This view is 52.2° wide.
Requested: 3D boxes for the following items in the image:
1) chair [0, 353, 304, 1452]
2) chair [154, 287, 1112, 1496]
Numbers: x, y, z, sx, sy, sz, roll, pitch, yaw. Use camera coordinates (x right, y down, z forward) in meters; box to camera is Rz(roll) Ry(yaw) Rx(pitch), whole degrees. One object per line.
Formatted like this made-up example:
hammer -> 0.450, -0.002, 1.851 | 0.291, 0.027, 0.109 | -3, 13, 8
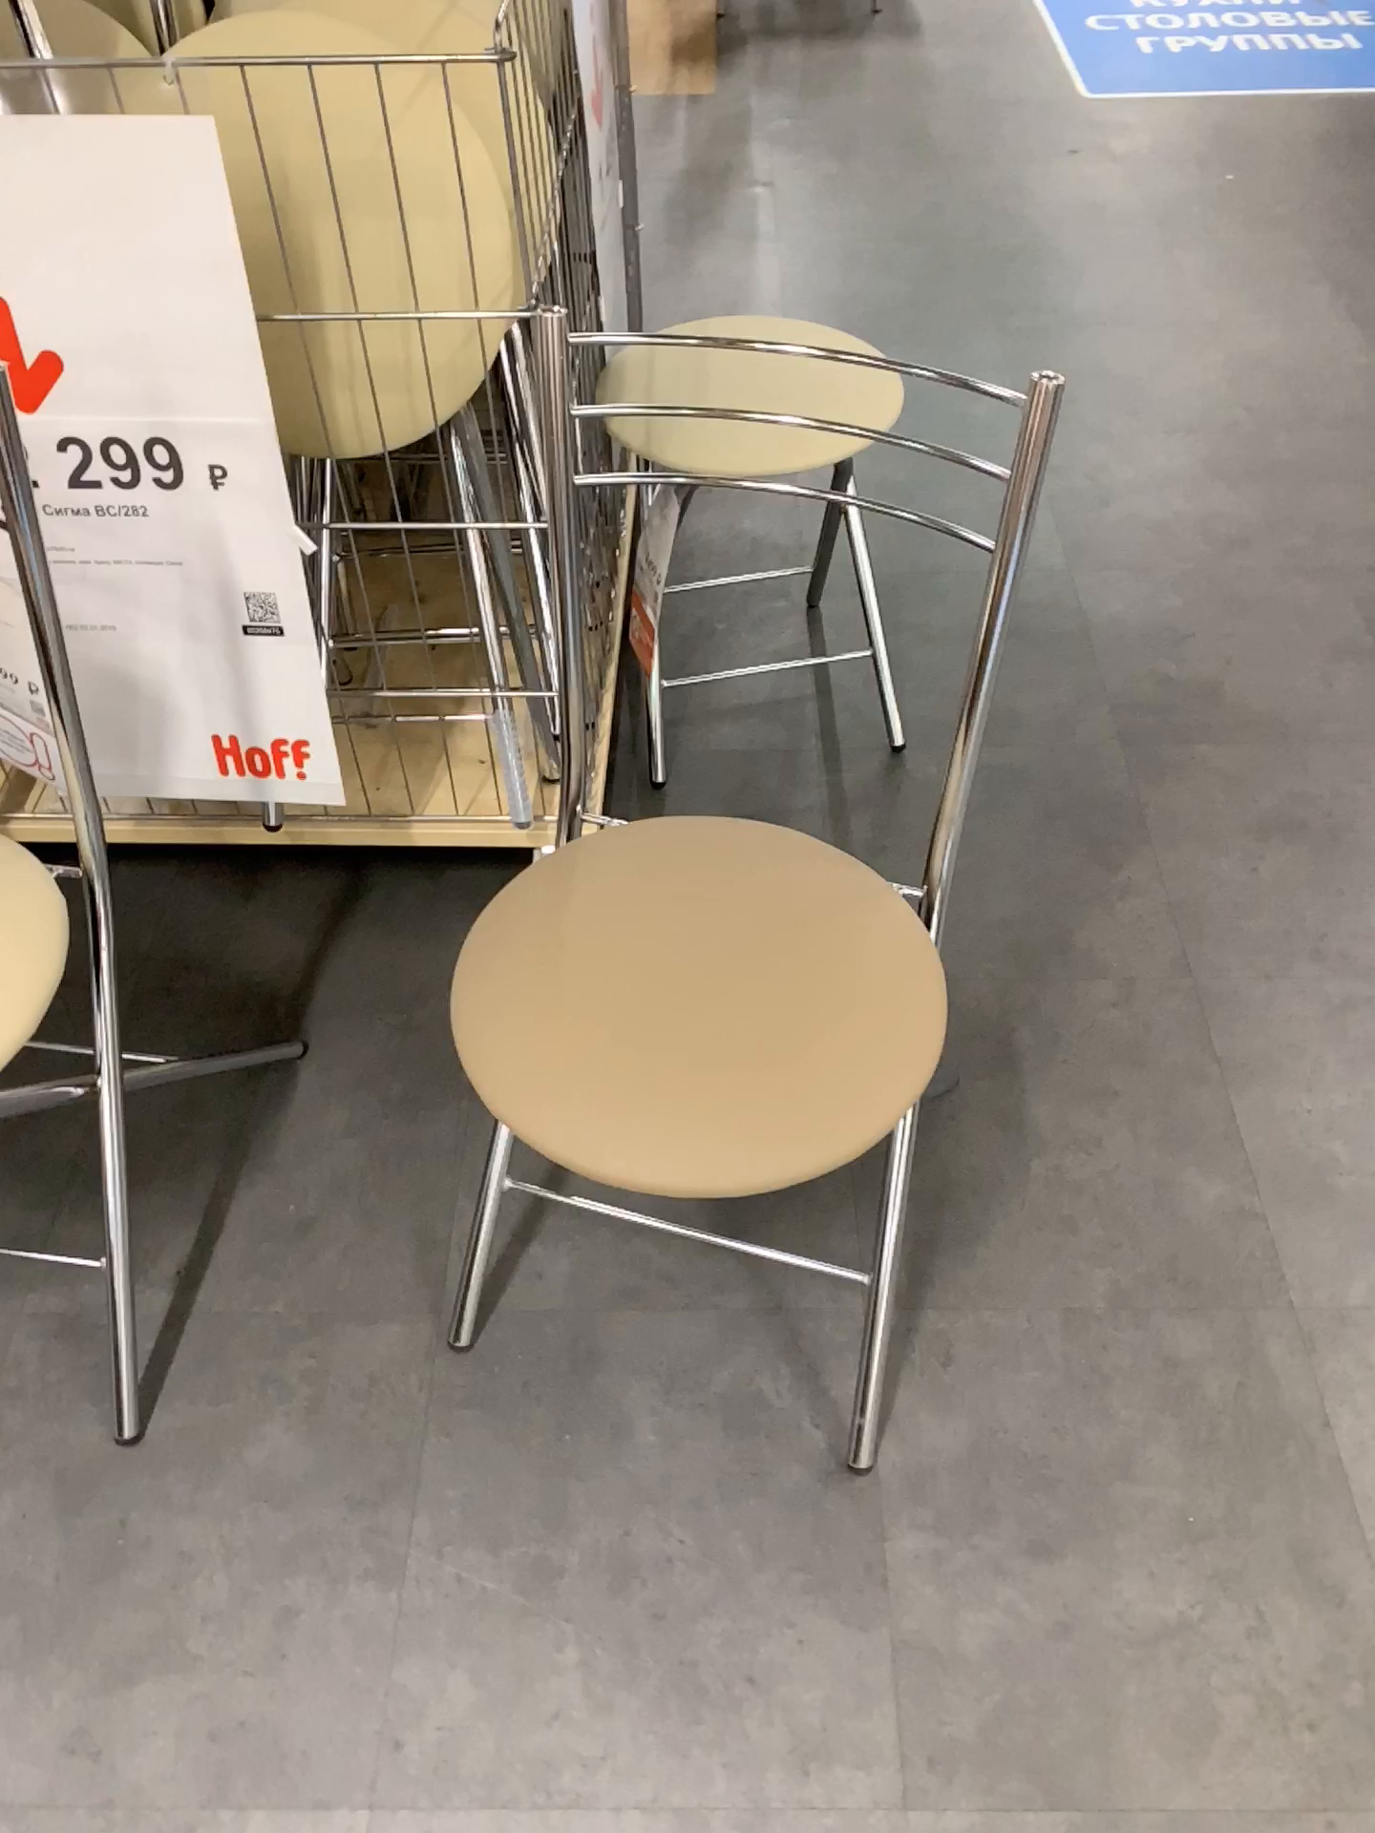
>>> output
chair -> -0.728, 0.029, 1.164 | 0.520, 0.776, 0.492 | 3, 48, 5
chair -> 0.016, 0.020, 1.131 | 0.440, 0.796, 0.492 | 12, 49, 12
